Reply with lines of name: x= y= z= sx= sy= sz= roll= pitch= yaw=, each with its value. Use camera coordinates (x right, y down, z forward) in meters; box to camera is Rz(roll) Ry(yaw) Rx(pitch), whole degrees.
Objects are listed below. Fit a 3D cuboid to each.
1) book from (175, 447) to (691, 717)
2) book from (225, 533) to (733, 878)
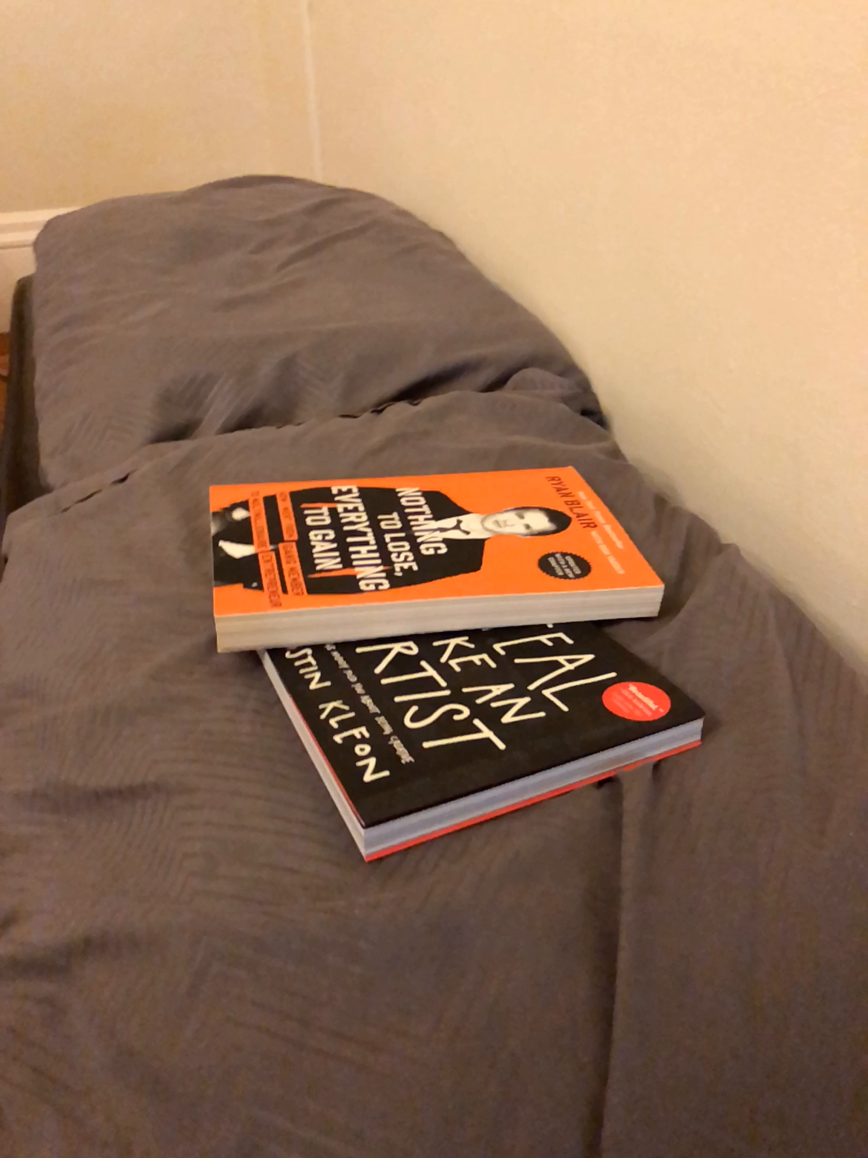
book: x=-0.013 y=-0.011 z=0.494 sx=0.230 sy=0.020 sz=0.171 roll=-7 pitch=35 yaw=-12
book: x=0.013 y=0.041 z=0.422 sx=0.170 sy=0.020 sz=0.151 roll=-14 pitch=37 yaw=-23
